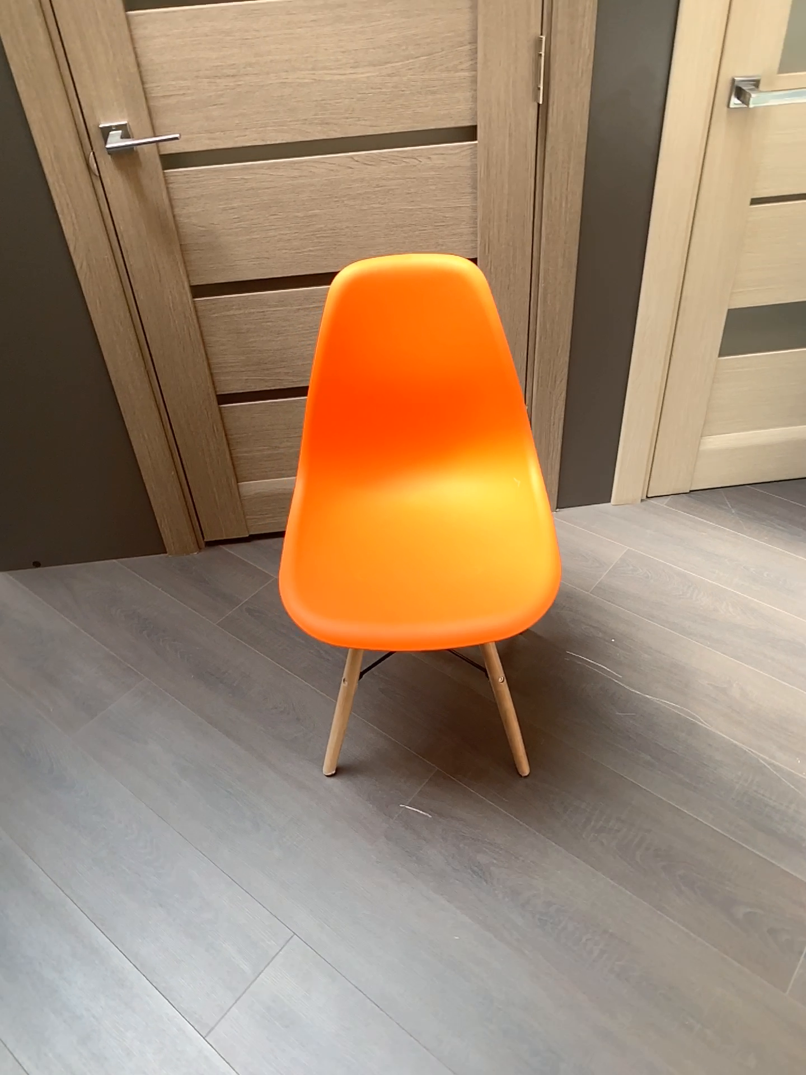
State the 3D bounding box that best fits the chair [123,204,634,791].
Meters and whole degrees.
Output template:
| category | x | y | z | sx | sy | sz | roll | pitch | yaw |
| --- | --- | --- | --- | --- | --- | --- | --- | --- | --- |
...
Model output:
| category | x | y | z | sx | sy | sz | roll | pitch | yaw |
| --- | --- | --- | --- | --- | --- | --- | --- | --- | --- |
| chair | -0.009 | -0.049 | 1.279 | 0.530 | 0.717 | 0.522 | -3 | 40 | 2 |
